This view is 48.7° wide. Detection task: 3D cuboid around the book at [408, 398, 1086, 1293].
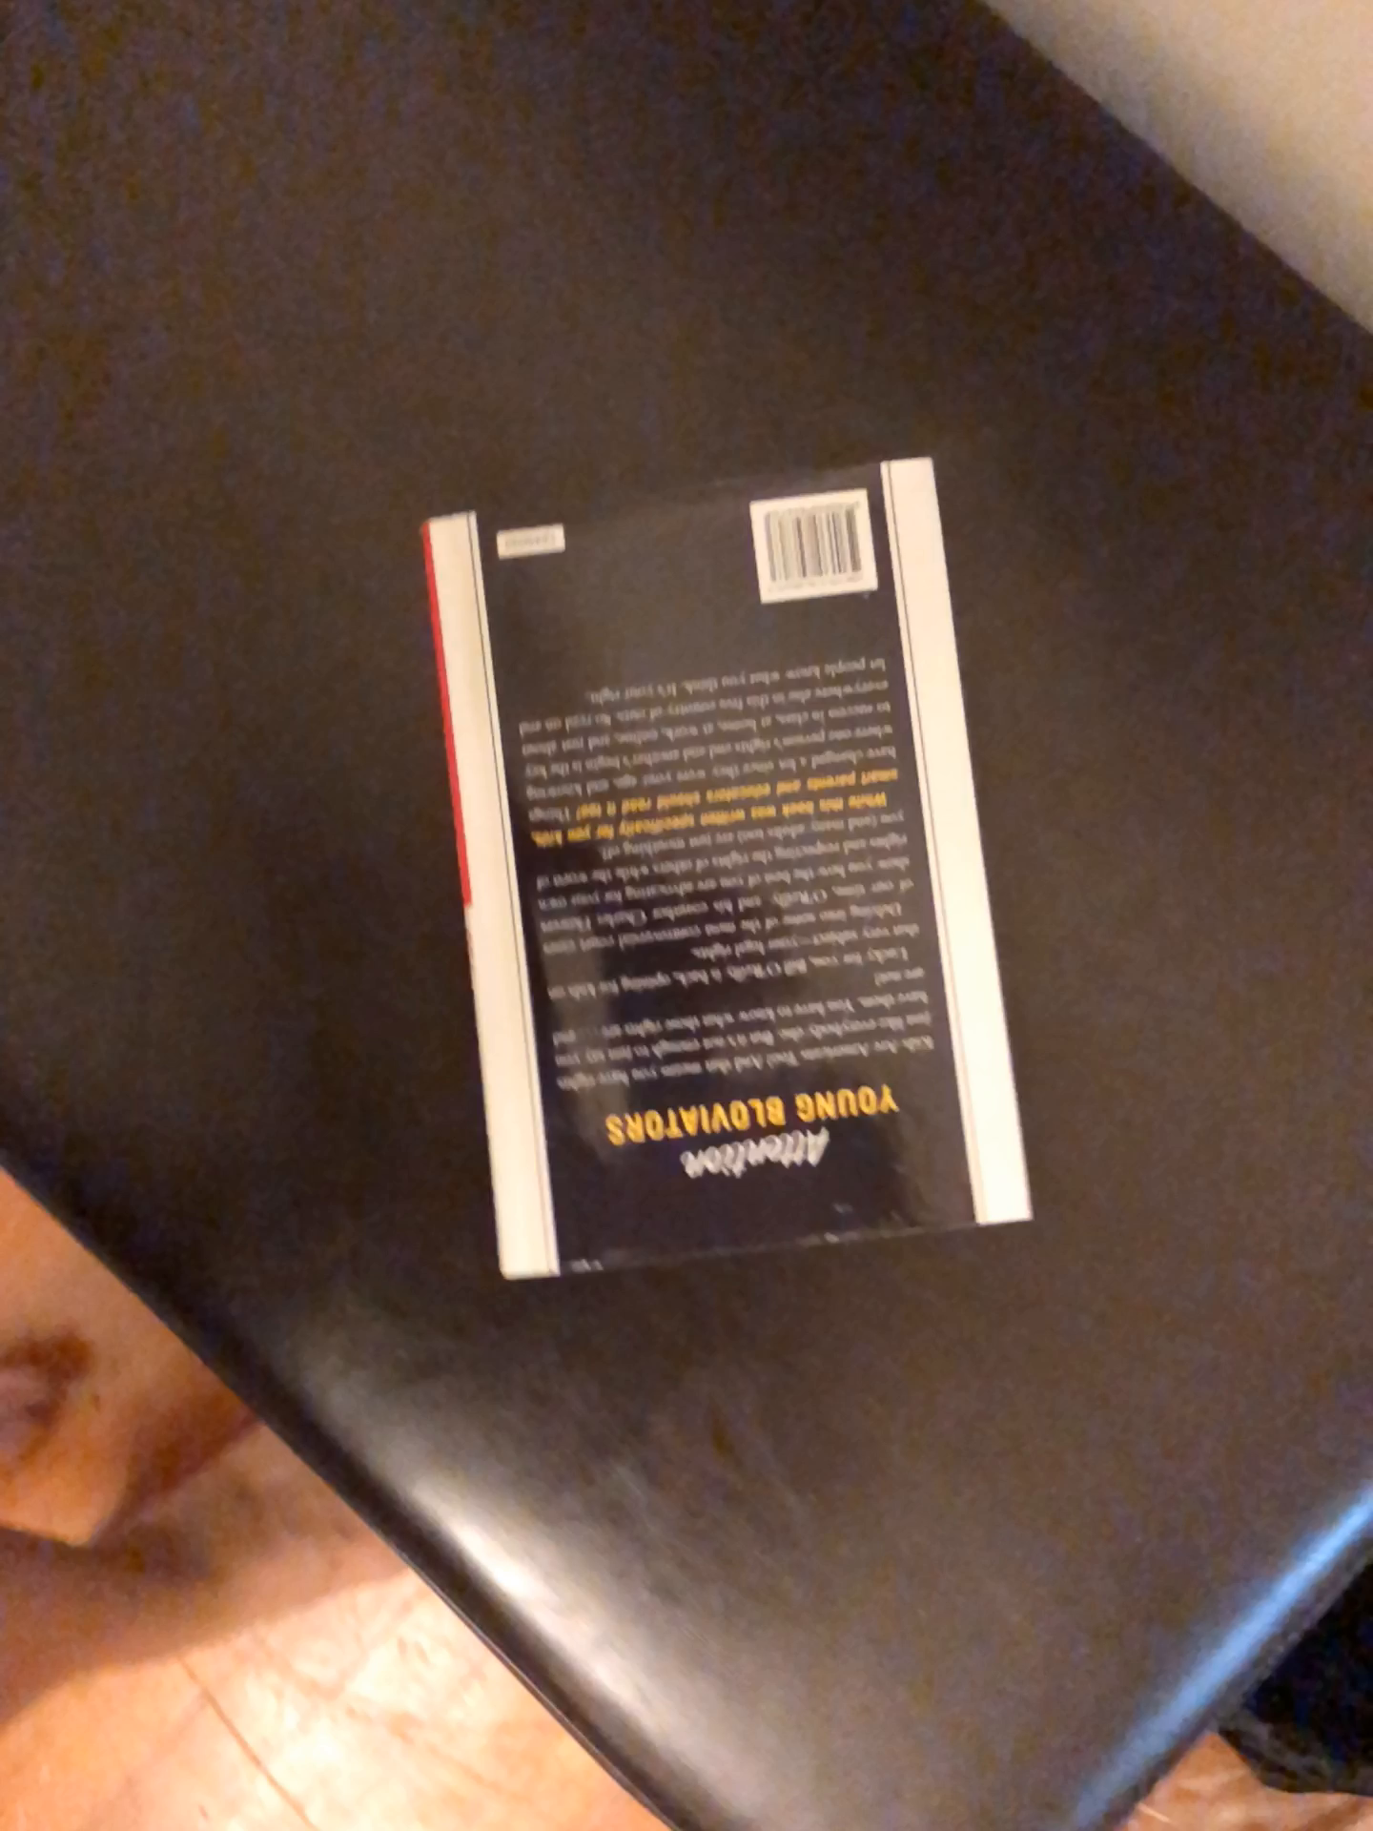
[{"bbox_3d":[0.015,-0.020,0.428,0.160,0.020,0.230,-7,86,1],"label":"book"}]
